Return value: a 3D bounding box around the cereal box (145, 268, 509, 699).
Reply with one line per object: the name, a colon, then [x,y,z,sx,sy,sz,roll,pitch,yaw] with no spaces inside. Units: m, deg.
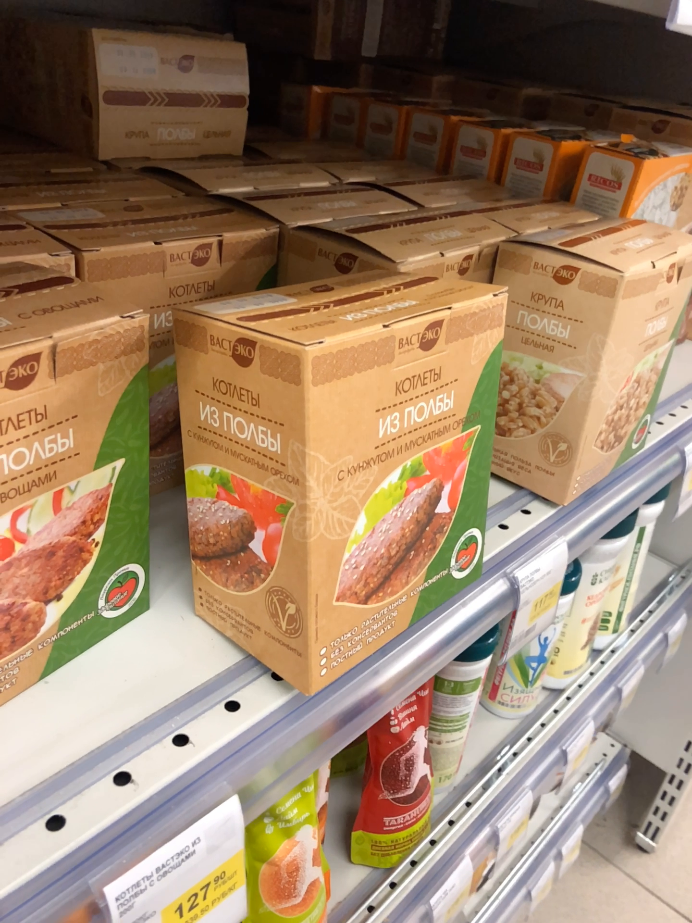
cereal box: [-0.005,-0.002,0.337,0.090,0.139,0.120,19,29,38]
